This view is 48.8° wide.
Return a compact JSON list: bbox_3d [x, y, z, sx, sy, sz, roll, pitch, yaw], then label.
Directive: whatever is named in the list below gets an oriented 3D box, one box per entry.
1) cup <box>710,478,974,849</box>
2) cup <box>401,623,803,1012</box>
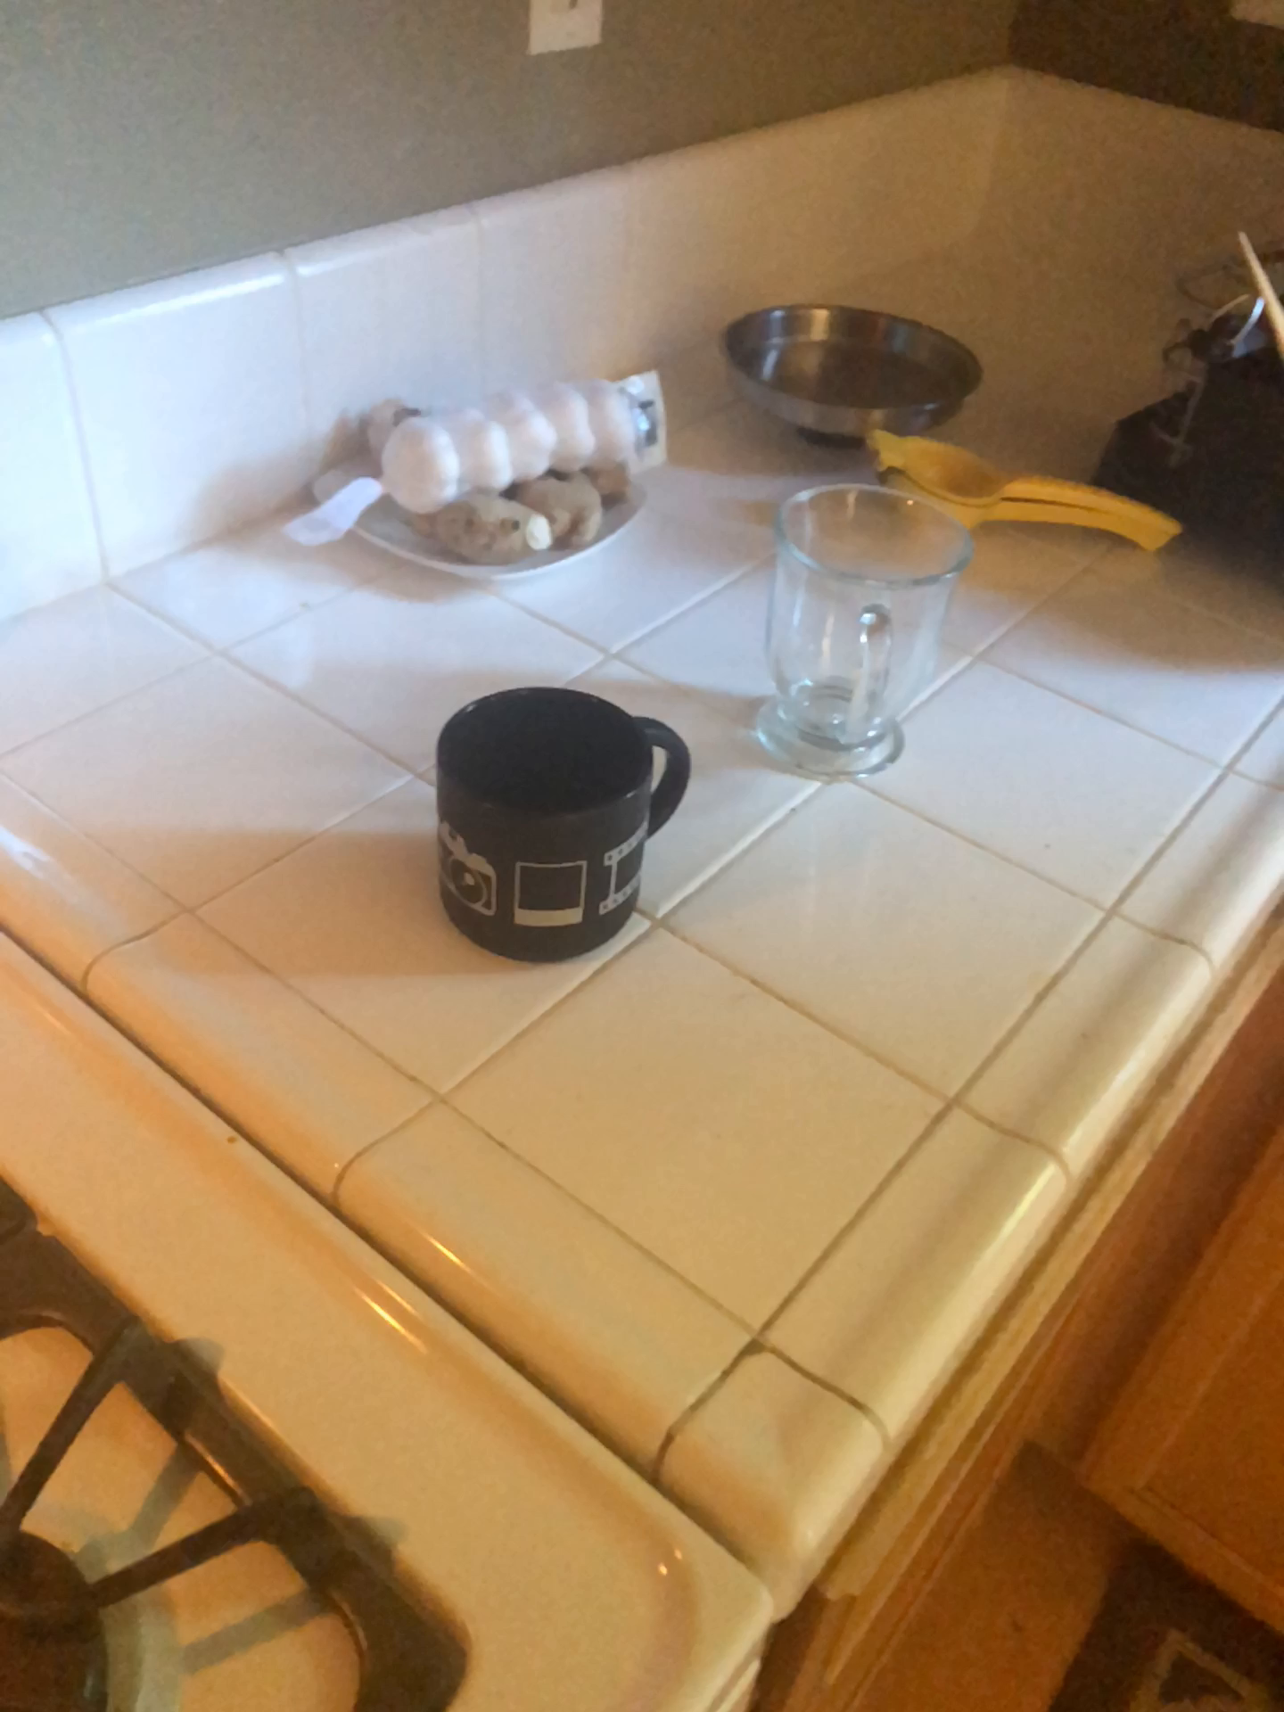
[{"bbox_3d":[0.101,-0.099,0.705,0.100,0.109,0.141,11,41,5],"label":"cup"},{"bbox_3d":[-0.020,-0.021,0.605,0.131,0.089,0.100,-22,49,-29],"label":"cup"}]
